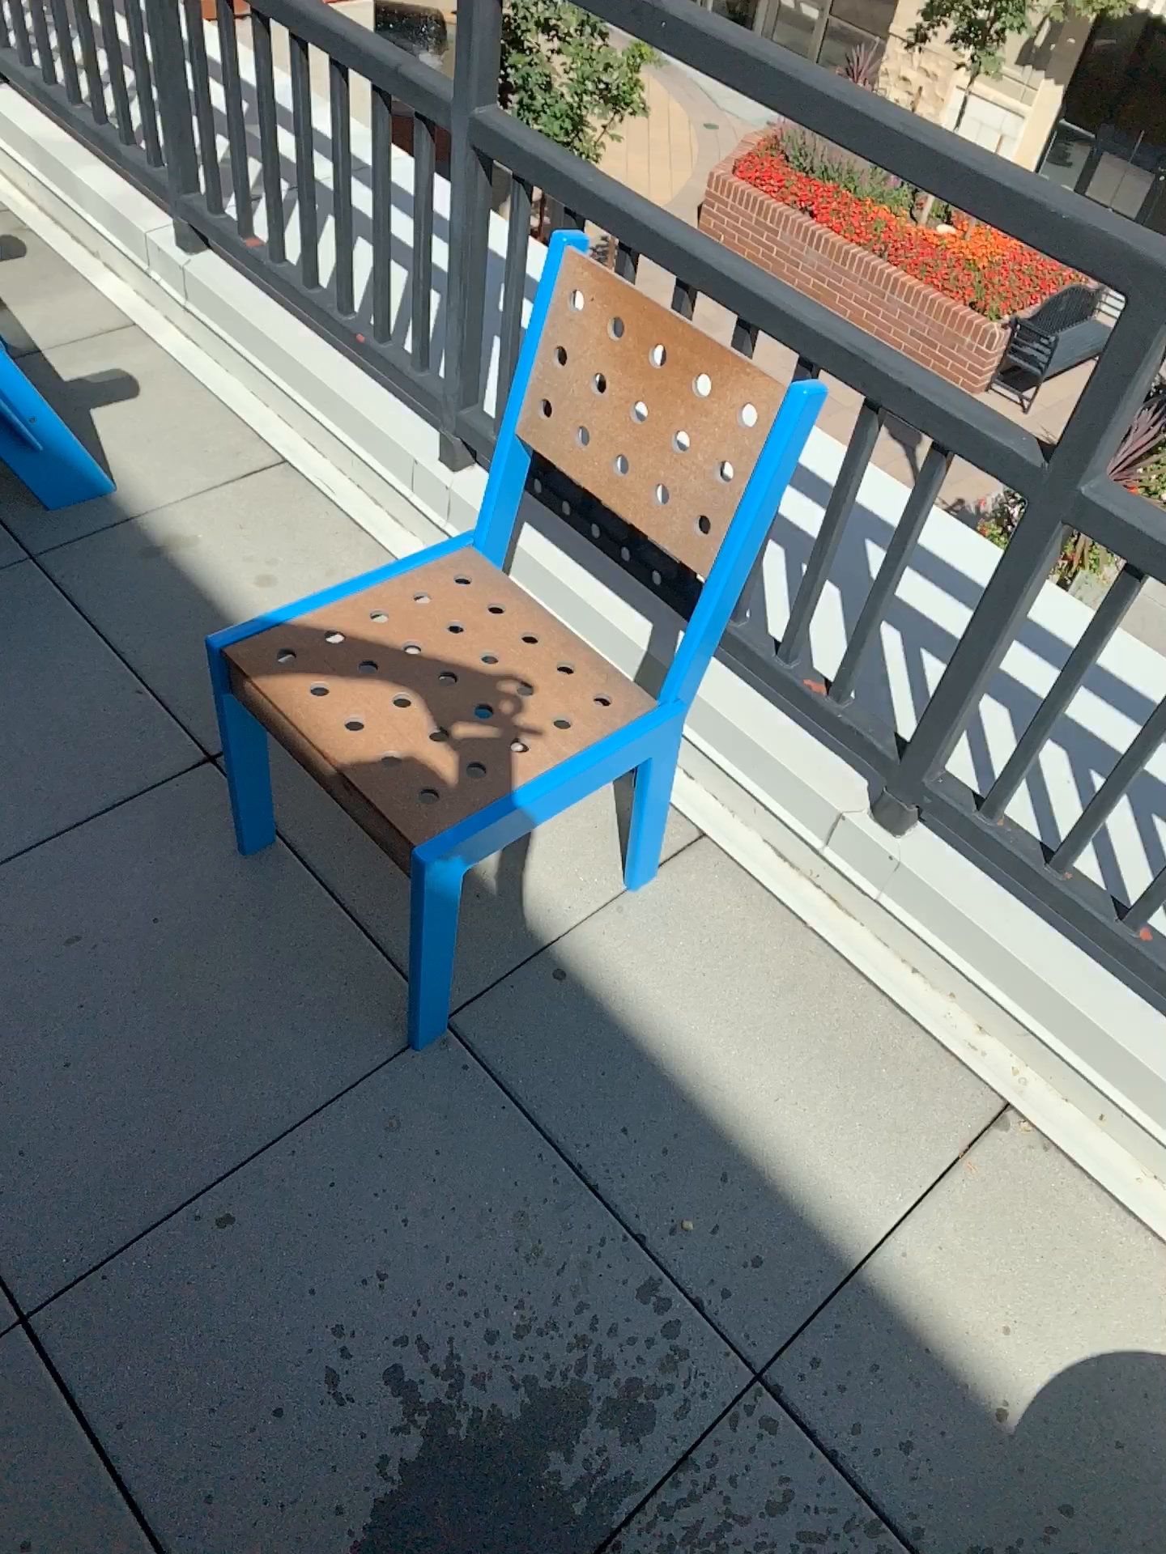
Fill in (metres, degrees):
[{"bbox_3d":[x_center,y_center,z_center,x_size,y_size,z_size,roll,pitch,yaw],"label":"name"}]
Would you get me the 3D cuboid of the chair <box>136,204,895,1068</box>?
[{"bbox_3d":[-0.103,-0.173,1.592,0.672,0.857,0.471,-31,60,-31],"label":"chair"}]
